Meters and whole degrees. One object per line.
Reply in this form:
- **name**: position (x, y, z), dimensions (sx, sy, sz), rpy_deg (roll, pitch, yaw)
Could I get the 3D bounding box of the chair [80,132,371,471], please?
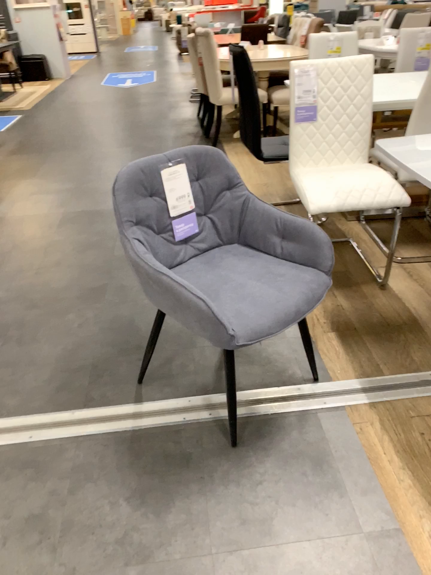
- **chair**: position (0.029, -0.009, 1.426), dimensions (0.562, 0.775, 0.592), rpy_deg (-27, 40, -33)
